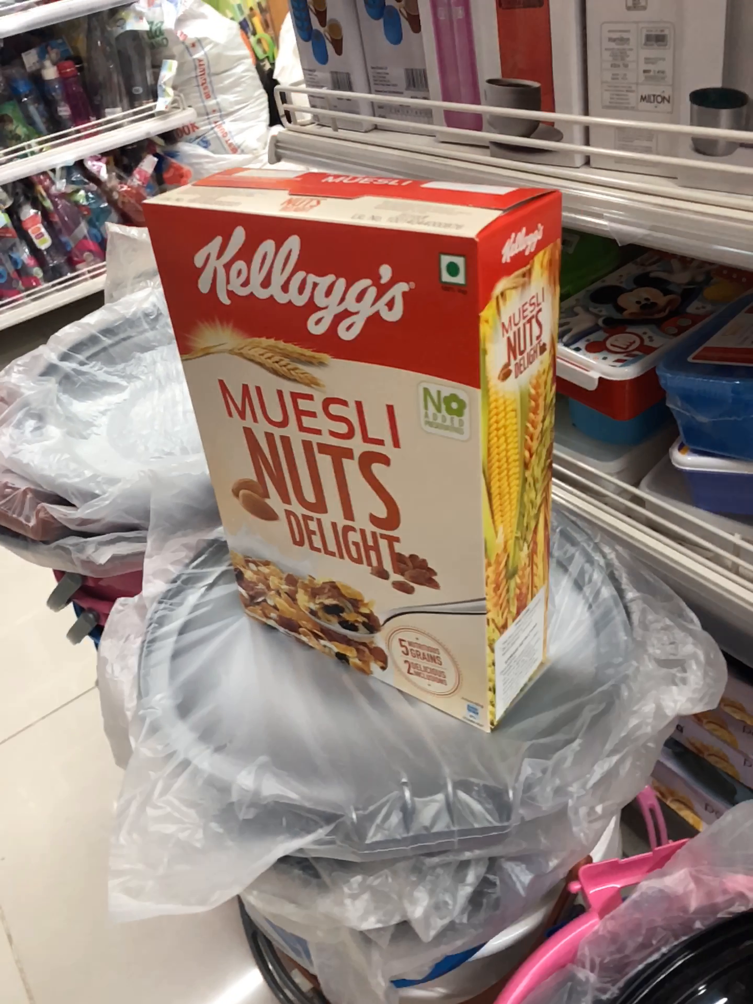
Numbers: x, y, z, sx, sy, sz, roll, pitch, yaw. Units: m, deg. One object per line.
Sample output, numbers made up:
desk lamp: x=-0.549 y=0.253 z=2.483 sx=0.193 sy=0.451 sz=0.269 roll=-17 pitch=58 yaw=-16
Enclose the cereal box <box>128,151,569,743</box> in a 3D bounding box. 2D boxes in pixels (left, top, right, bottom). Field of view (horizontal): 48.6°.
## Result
cereal box: x=-0.010 y=-0.030 z=0.428 sx=0.191 sy=0.259 sz=0.070 roll=20 pitch=40 yaw=34
